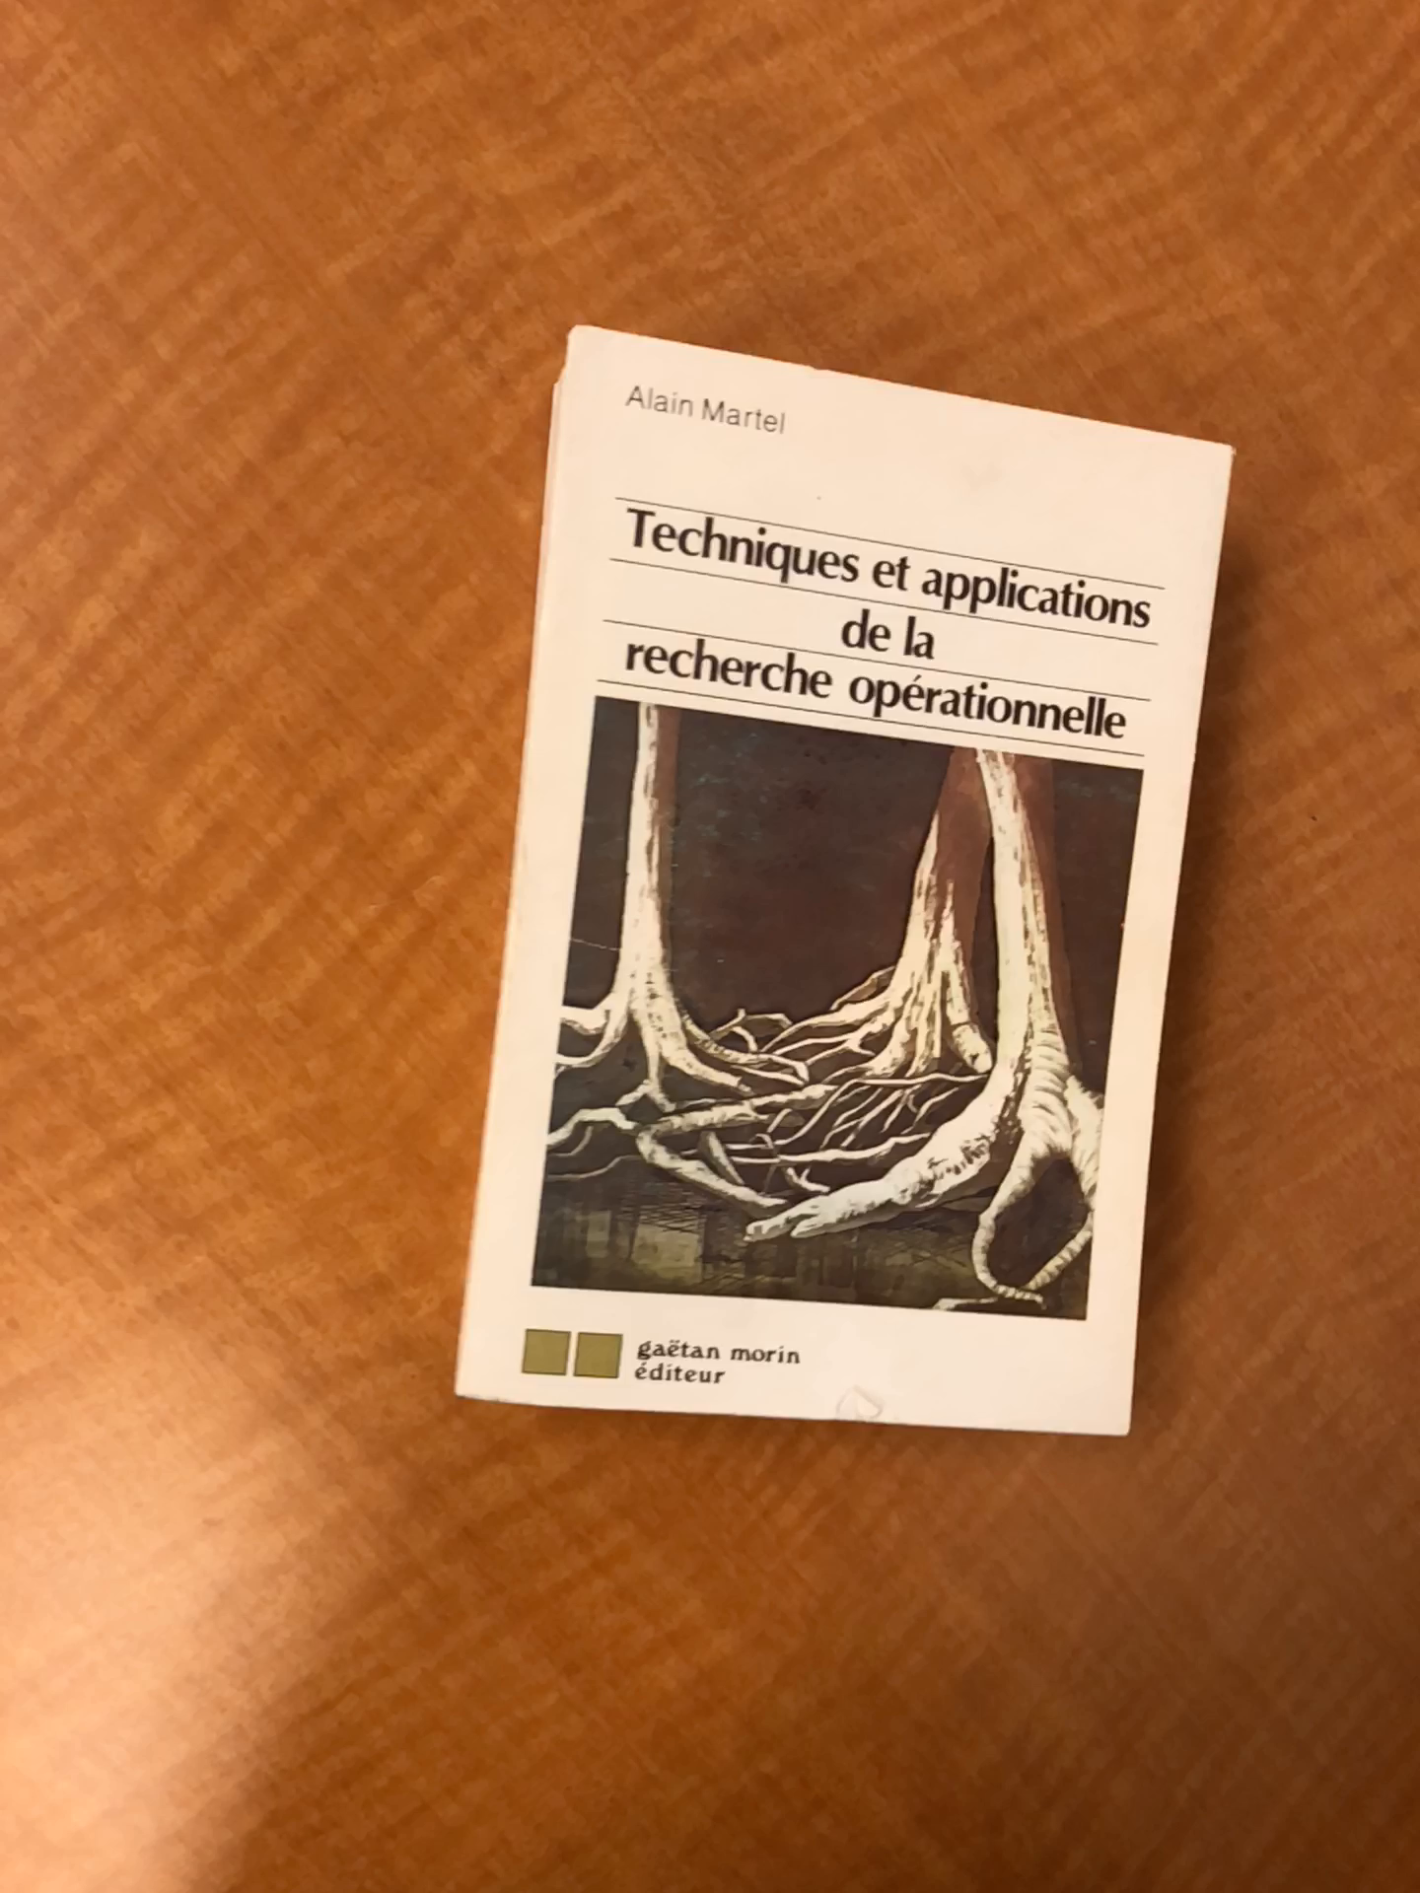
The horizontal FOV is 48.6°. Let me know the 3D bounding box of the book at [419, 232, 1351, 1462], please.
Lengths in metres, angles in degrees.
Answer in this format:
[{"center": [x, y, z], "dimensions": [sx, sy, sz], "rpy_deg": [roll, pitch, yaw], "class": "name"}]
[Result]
[{"center": [0.033, -0.014, 0.351], "dimensions": [0.170, 0.070, 0.230], "rpy_deg": [6, 92, -11], "class": "book"}]
